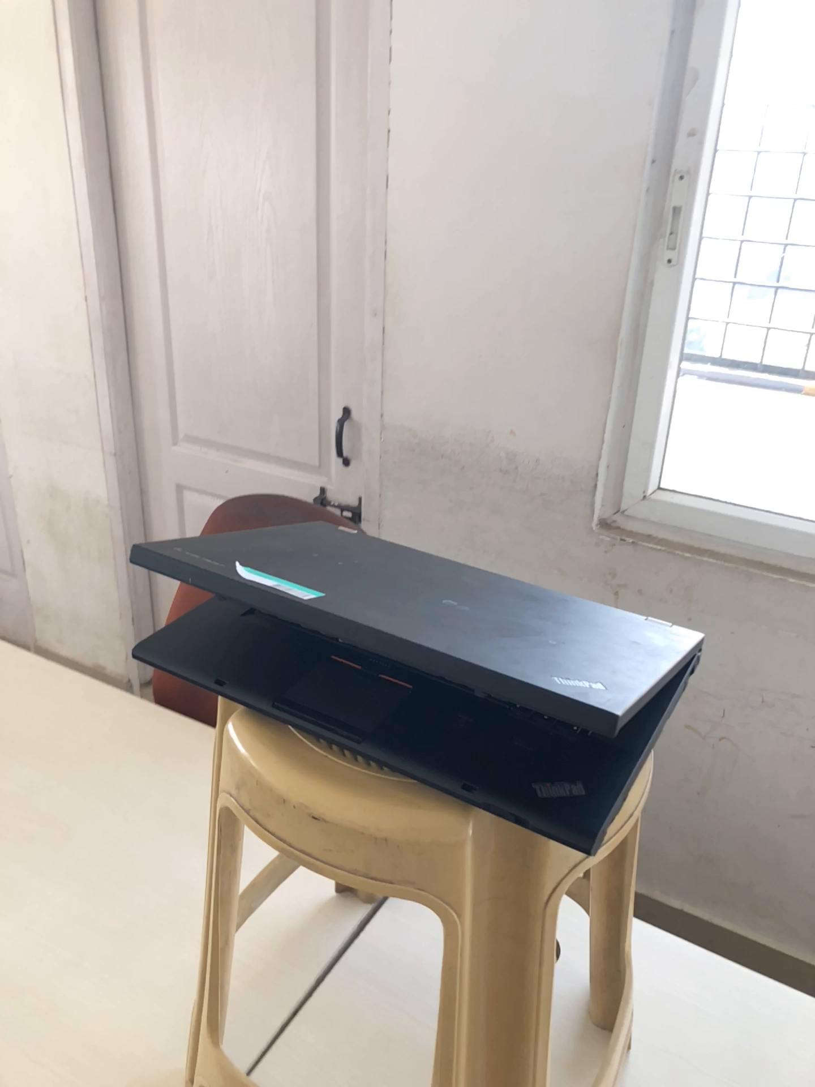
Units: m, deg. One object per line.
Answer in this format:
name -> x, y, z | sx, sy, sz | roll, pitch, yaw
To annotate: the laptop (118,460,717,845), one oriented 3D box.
laptop -> 0.009, 0.048, 0.666 | 0.362, 0.074, 0.235 | 16, 31, 27
